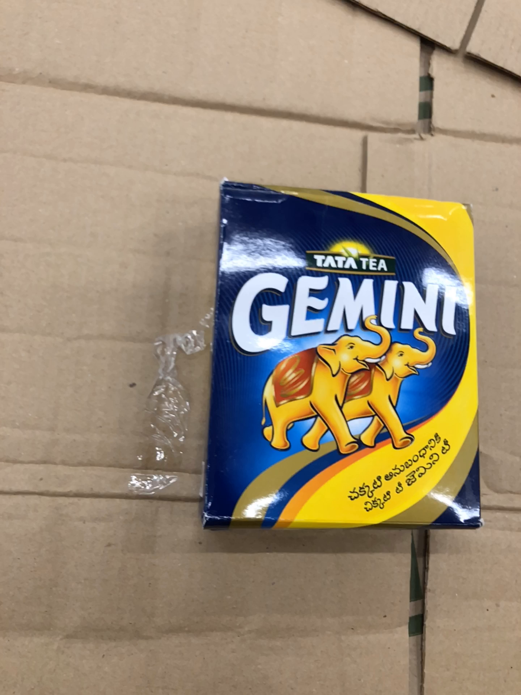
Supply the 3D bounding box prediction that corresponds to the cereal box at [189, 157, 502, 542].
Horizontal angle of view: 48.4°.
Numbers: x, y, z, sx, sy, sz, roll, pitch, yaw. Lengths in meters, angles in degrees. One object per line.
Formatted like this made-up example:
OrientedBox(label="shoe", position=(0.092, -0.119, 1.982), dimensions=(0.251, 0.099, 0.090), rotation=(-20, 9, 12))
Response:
OrientedBox(label="cereal box", position=(0.040, 0.003, 0.290), dimensions=(0.140, 0.050, 0.170), rotation=(3, 82, -7))
